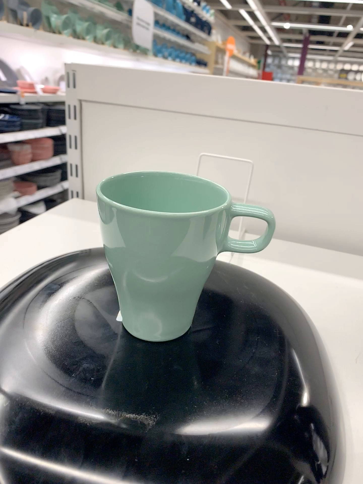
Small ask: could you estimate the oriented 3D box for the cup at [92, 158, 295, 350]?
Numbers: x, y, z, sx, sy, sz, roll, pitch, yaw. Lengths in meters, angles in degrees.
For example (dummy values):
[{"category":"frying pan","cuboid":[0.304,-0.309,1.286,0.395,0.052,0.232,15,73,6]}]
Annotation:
[{"category":"cup","cuboid":[0.001,0.005,0.259,0.110,0.100,0.080,4,23,-4]}]
